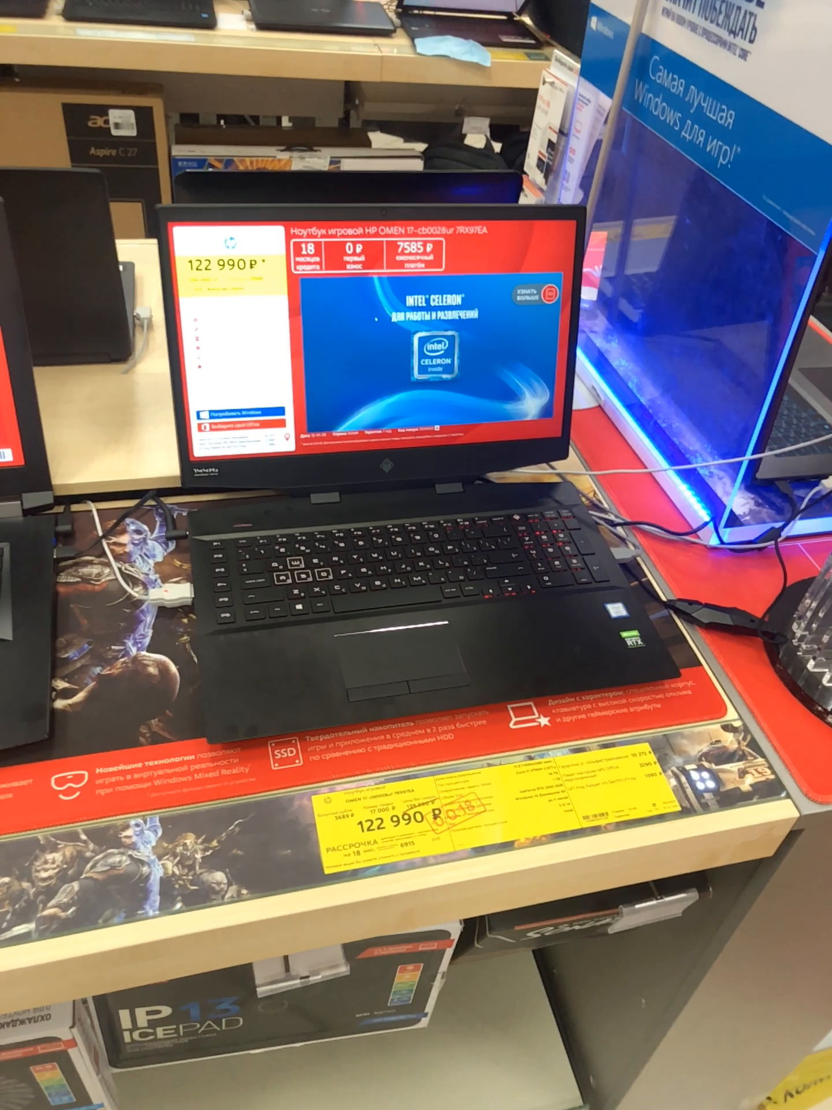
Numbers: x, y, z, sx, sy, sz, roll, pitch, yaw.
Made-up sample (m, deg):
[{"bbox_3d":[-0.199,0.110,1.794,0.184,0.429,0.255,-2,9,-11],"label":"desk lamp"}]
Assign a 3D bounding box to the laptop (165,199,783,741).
[{"bbox_3d":[0.004,-0.101,0.782,0.391,0.246,0.377,-6,44,-13],"label":"laptop"}]
